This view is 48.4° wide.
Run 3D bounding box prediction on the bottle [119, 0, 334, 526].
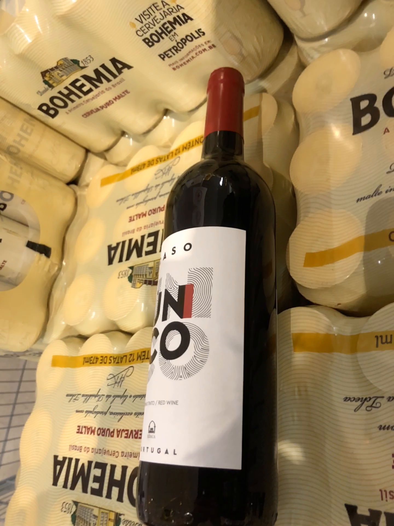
[{"bbox_3d":[0.022,-0.018,0.280,0.080,0.070,0.330,-16,61,39],"label":"bottle"}]
